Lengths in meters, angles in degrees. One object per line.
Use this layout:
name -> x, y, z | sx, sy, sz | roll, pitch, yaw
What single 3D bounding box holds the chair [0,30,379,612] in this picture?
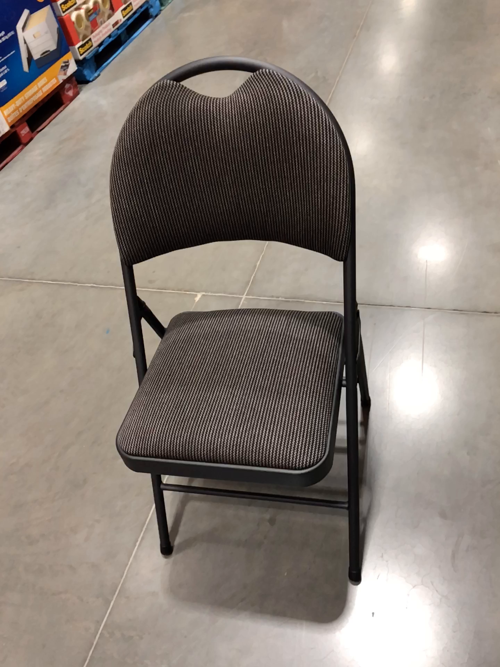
chair -> -0.051, 0.043, 1.022 | 0.521, 0.866, 0.562 | 0, 47, 16
